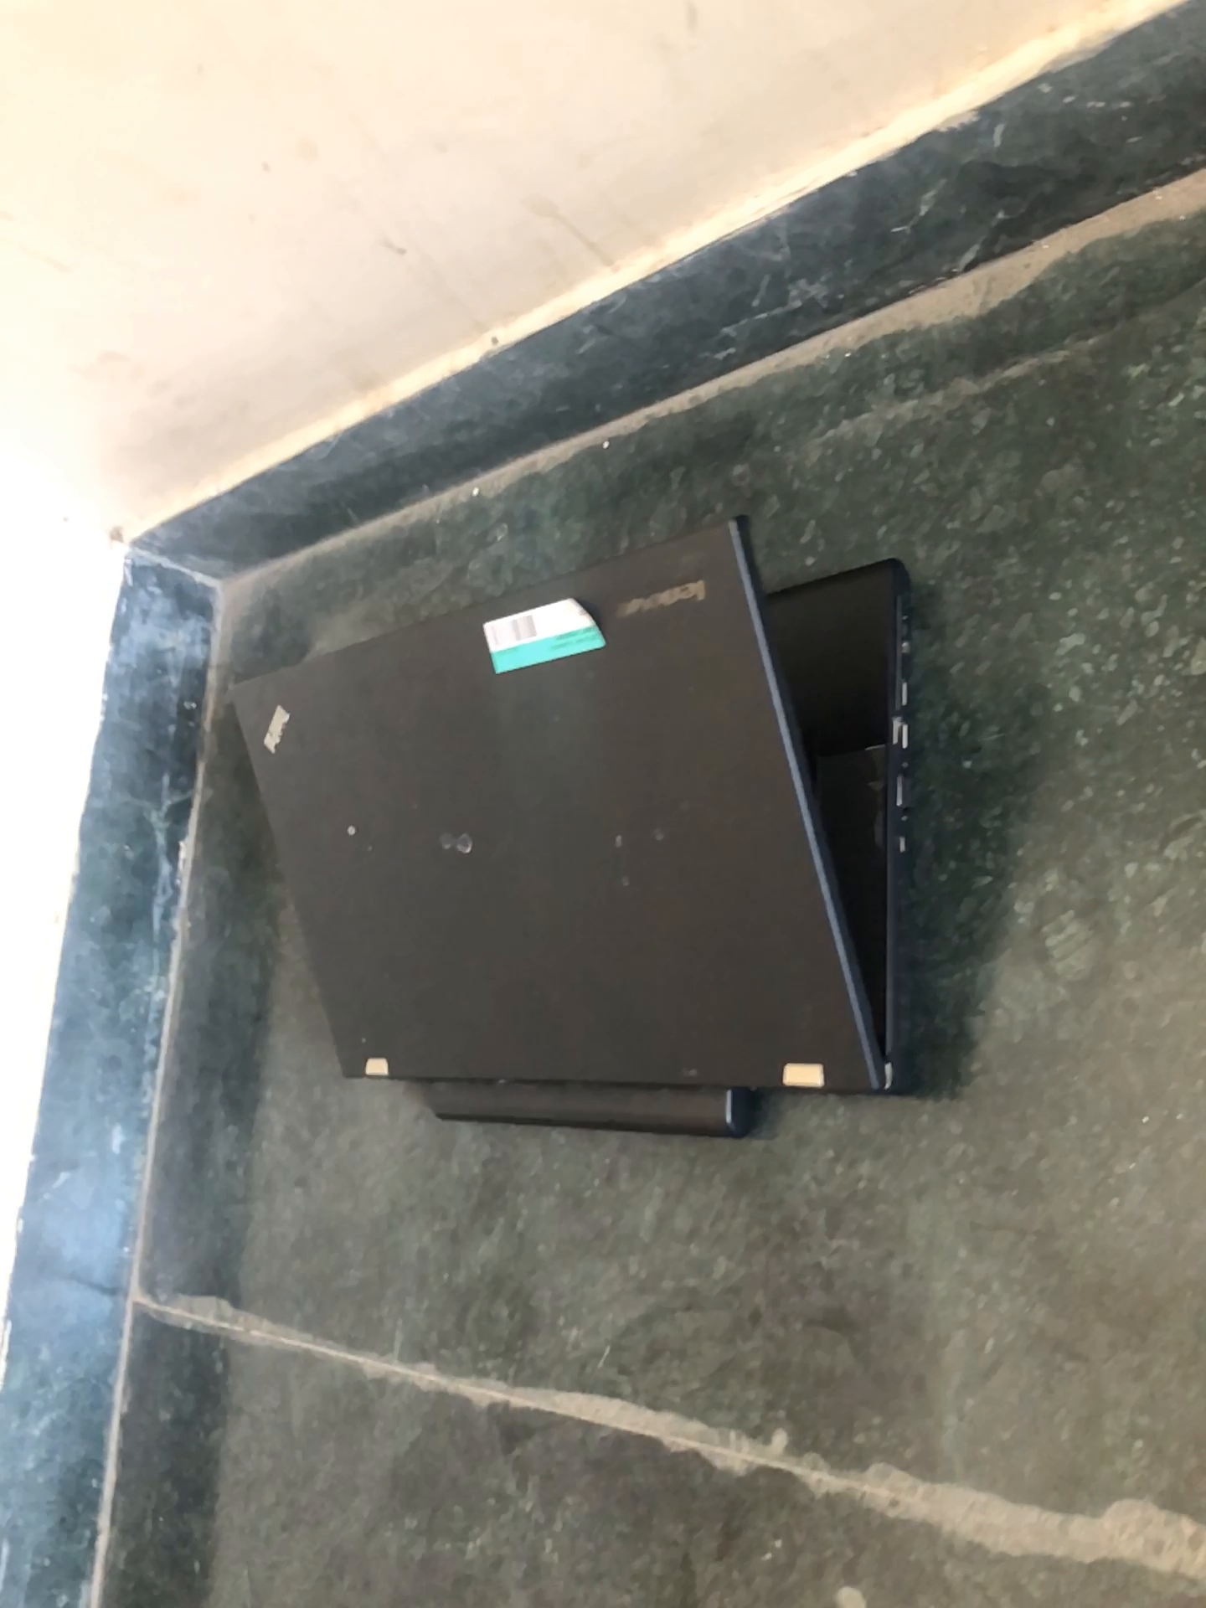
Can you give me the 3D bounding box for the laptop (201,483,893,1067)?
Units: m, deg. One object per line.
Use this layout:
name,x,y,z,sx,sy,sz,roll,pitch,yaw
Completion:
laptop,-0.041,0.009,0.655,0.351,0.094,0.227,-9,70,41
